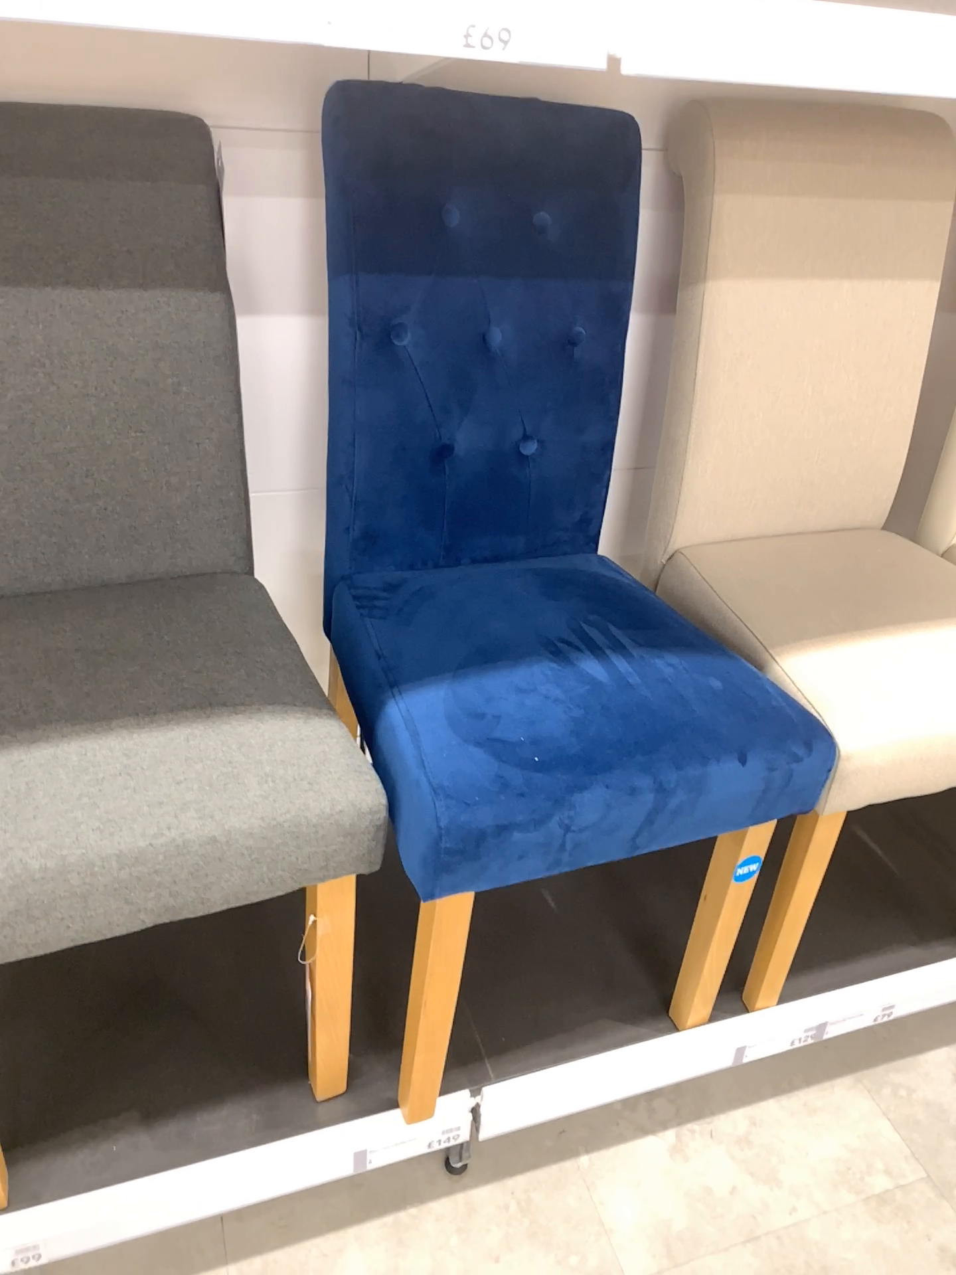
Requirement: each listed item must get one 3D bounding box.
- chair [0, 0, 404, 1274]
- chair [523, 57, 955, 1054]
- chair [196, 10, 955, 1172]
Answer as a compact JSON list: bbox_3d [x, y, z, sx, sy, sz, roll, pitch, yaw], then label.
[{"bbox_3d":[-0.412,-0.028,1.036,0.490,1.025,0.672,-7,28,-19],"label":"chair"},{"bbox_3d":[0.447,-0.139,1.302,0.490,1.035,0.672,-7,28,-19],"label":"chair"},{"bbox_3d":[-0.007,-0.079,1.154,0.490,1.035,0.672,-7,28,-19],"label":"chair"}]
